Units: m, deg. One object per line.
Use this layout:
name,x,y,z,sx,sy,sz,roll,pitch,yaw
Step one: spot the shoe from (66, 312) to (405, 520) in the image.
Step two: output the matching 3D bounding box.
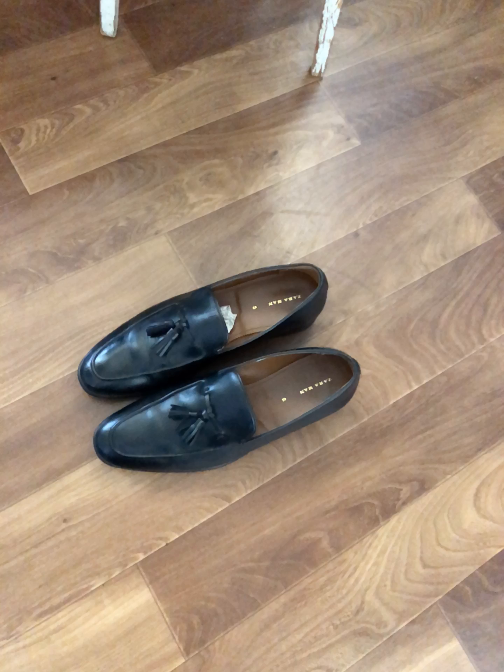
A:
shoe,-0.017,0.083,0.577,0.300,0.120,0.110,-16,76,-13

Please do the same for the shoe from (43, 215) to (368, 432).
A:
shoe,-0.047,-0.012,0.602,0.300,0.120,0.110,-21,77,-14
